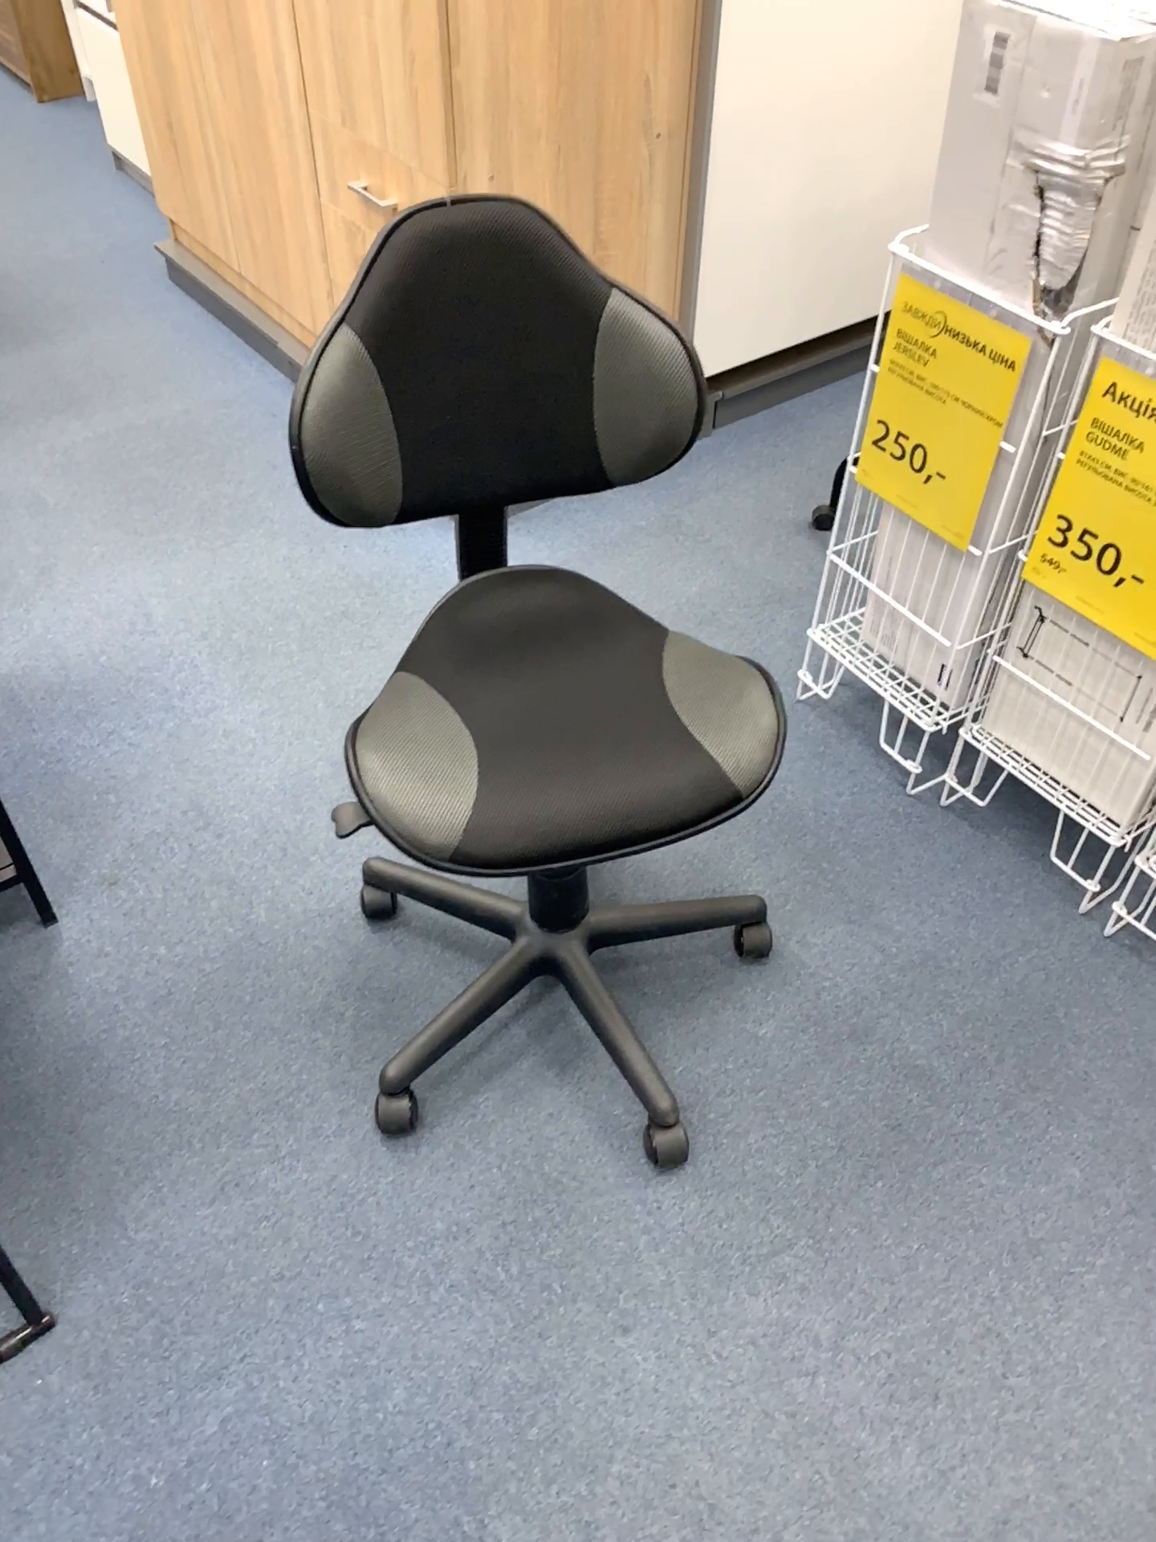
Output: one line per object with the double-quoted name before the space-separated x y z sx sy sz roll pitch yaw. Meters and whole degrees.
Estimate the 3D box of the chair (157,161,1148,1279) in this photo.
"chair" -0.012 -0.047 1.317 0.630 0.916 0.693 -13 47 -13
